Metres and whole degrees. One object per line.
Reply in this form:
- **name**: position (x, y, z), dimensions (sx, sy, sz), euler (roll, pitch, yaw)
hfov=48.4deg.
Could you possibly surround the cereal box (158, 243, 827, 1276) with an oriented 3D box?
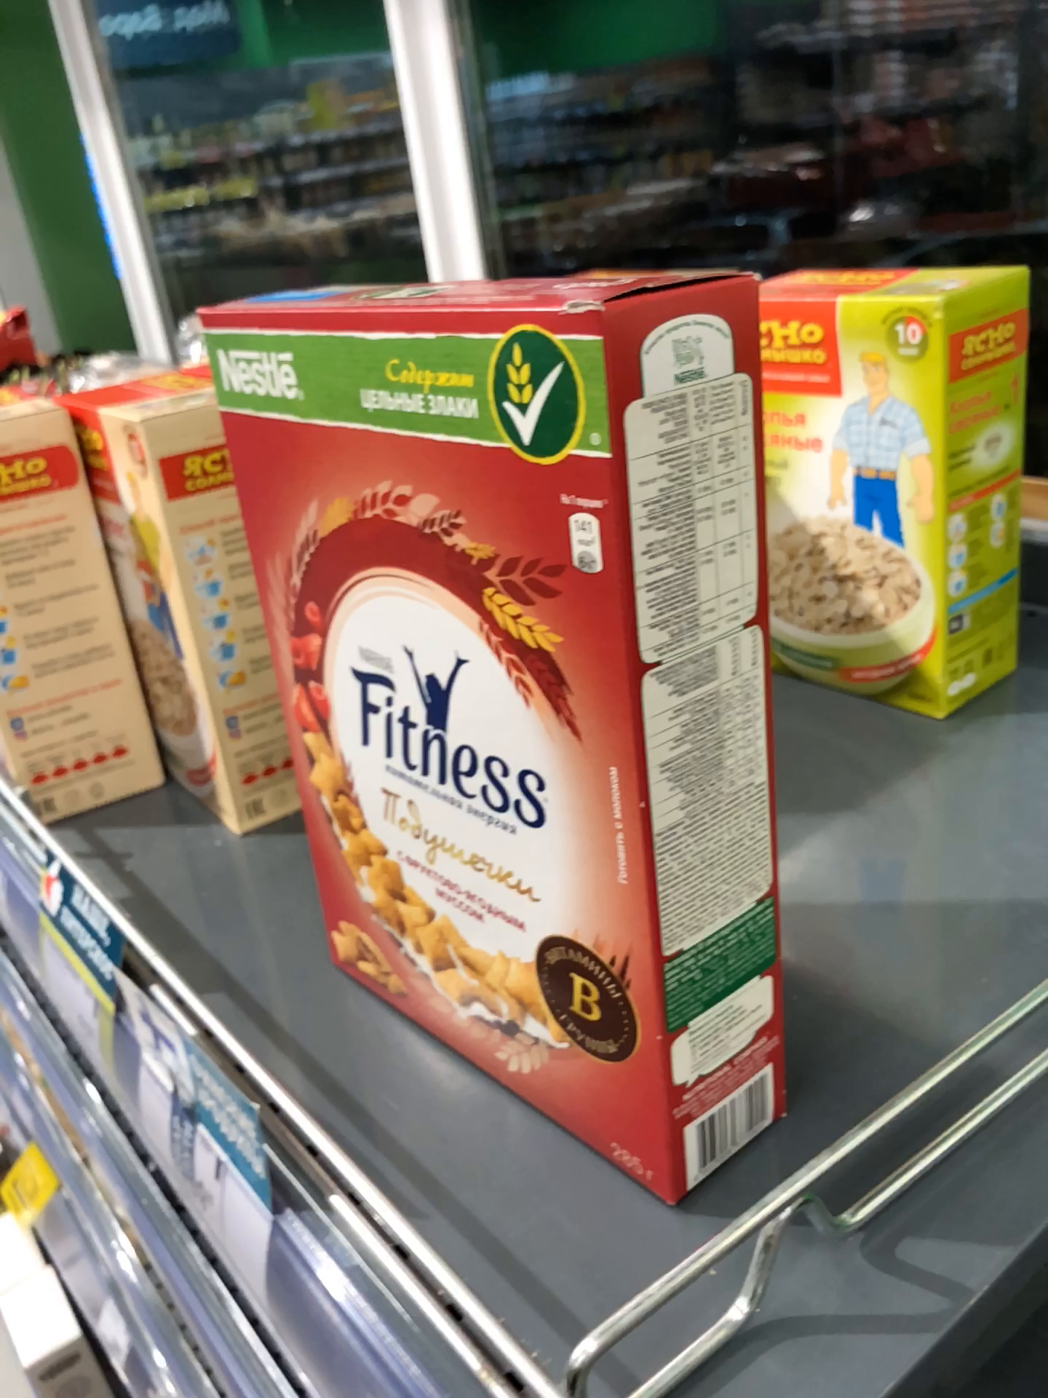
- **cereal box**: position (-0.010, 0.006, 0.344), dimensions (0.060, 0.249, 0.190), euler (-24, 29, -36)
